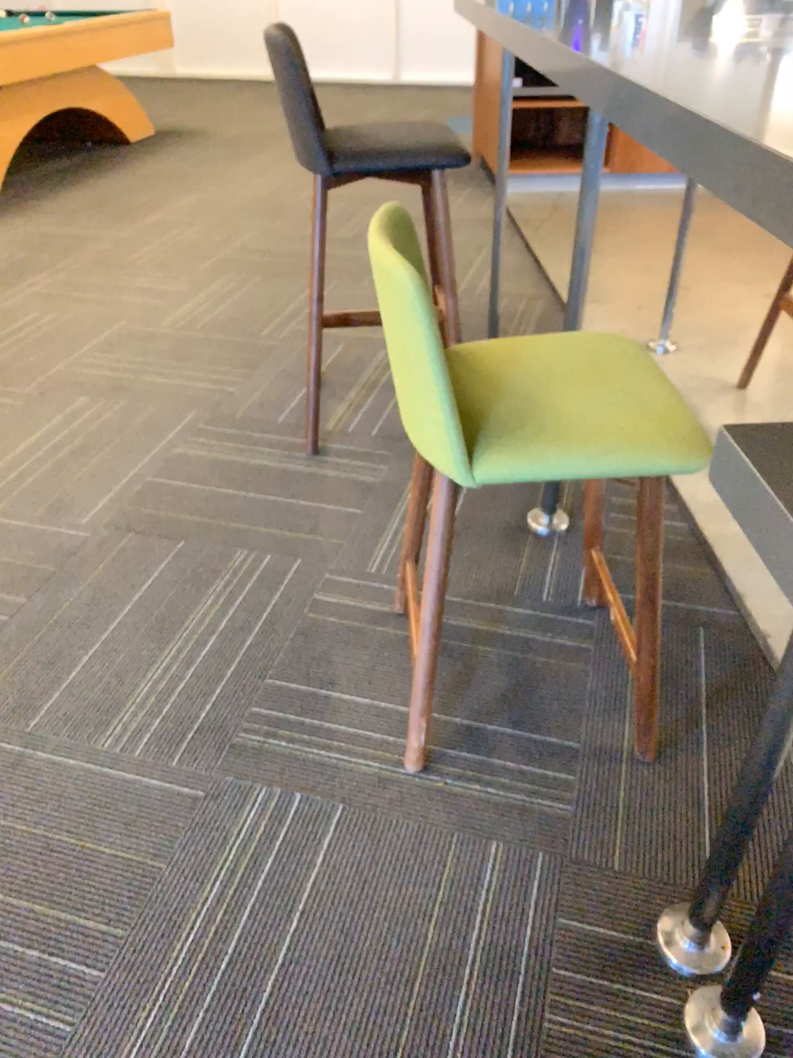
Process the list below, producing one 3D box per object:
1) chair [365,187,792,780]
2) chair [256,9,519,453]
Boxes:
[{"bbox_3d":[0.205,-0.054,1.314,0.480,0.825,0.443,-2,35,-2],"label":"chair"},{"bbox_3d":[-0.038,-0.806,2.220,0.540,0.974,0.644,-3,36,-3],"label":"chair"}]
